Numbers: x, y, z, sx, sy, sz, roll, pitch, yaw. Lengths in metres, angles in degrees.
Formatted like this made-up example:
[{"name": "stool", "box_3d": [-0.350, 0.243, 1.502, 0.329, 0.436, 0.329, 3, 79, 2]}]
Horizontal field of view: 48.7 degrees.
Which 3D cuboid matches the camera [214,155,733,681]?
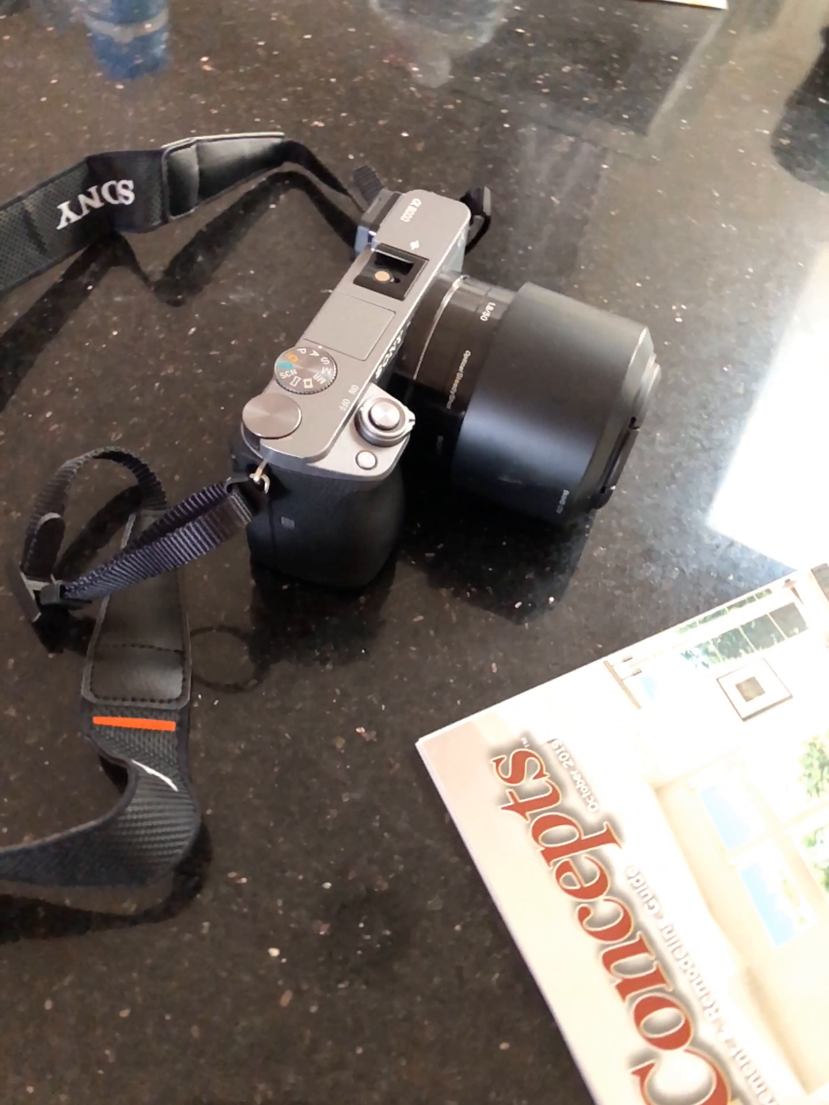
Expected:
[{"name": "camera", "box_3d": [0.020, -0.045, 0.279, 0.110, 0.060, 0.120, 22, 58, 7]}]
